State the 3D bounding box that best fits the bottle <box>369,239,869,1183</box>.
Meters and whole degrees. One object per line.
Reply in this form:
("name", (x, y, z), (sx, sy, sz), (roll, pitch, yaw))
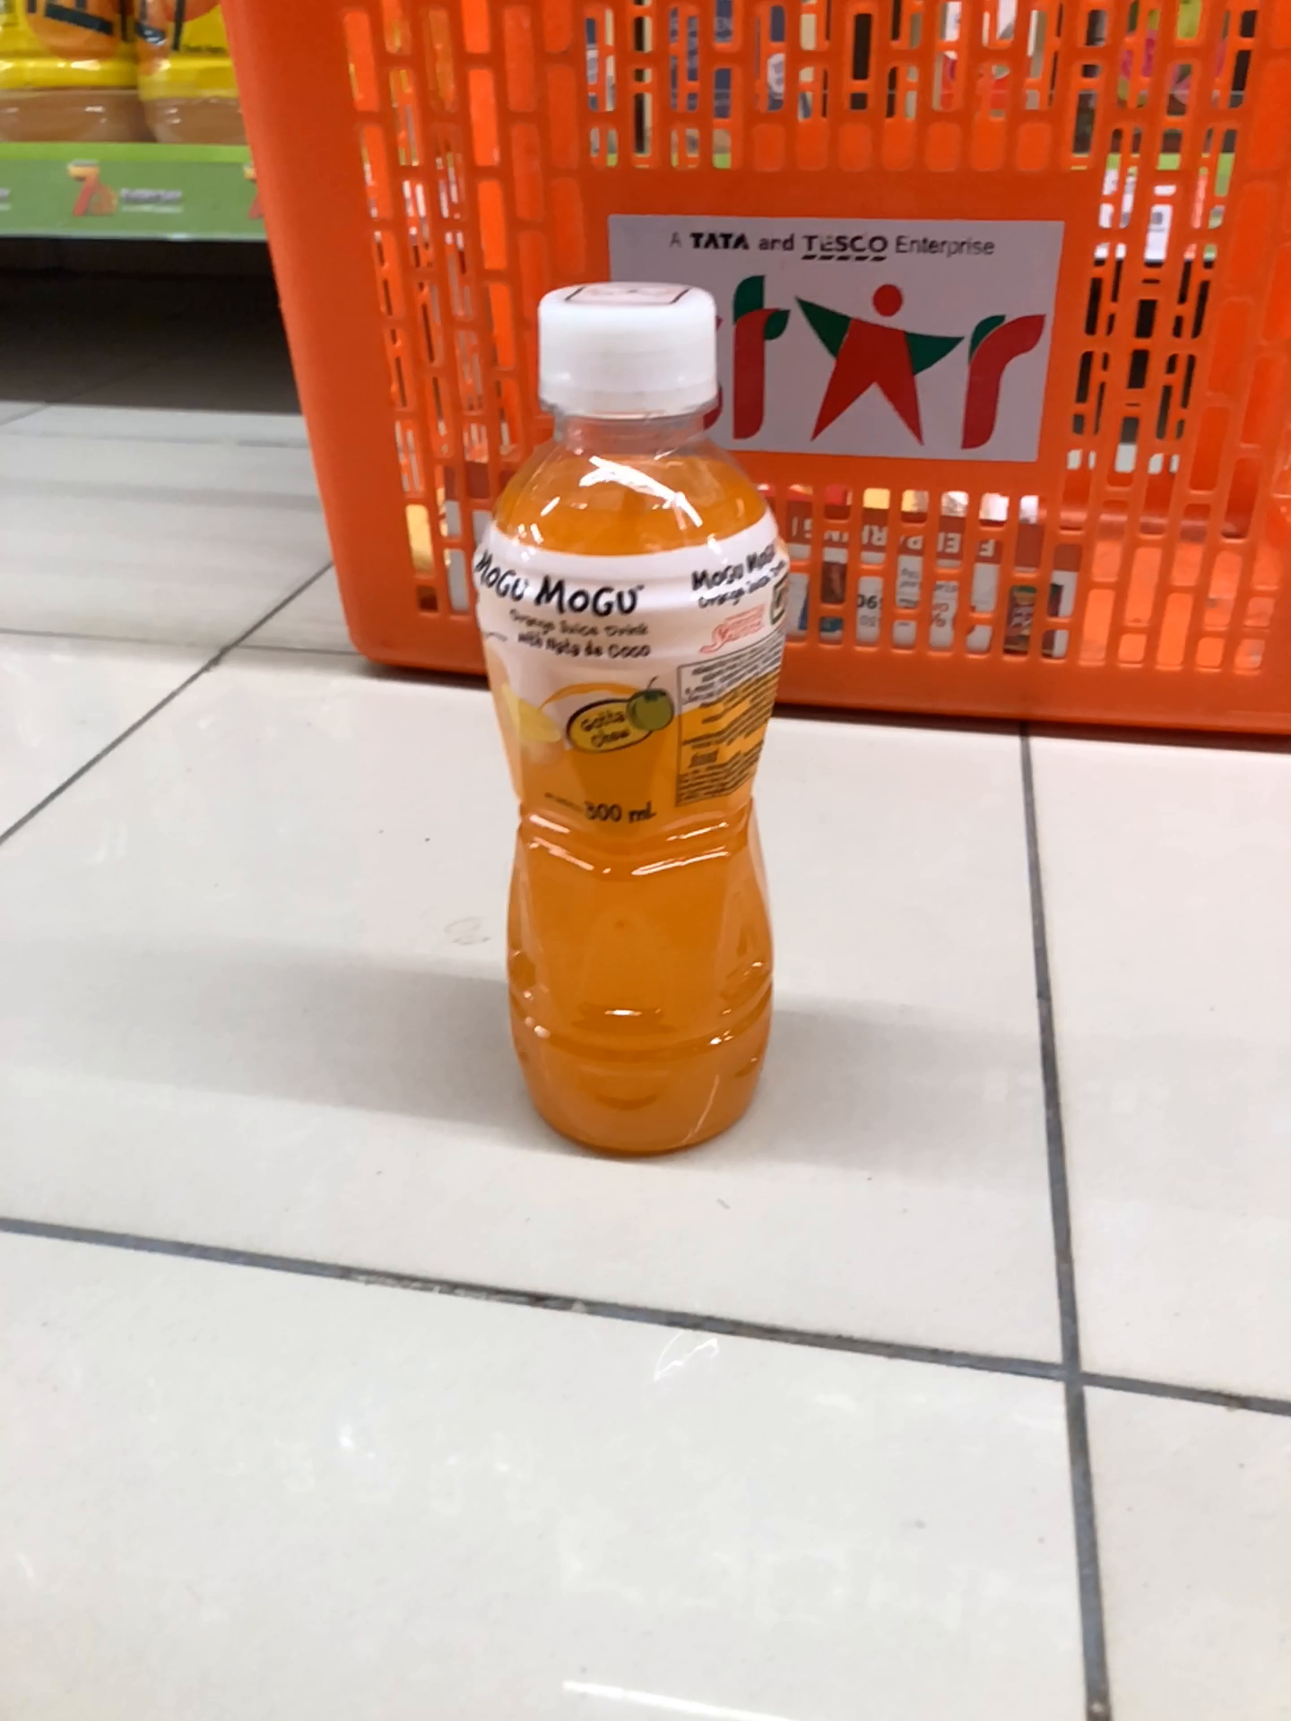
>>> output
("bottle", (0.000, -0.028, 0.274), (0.060, 0.159, 0.066), (12, 32, 21))
